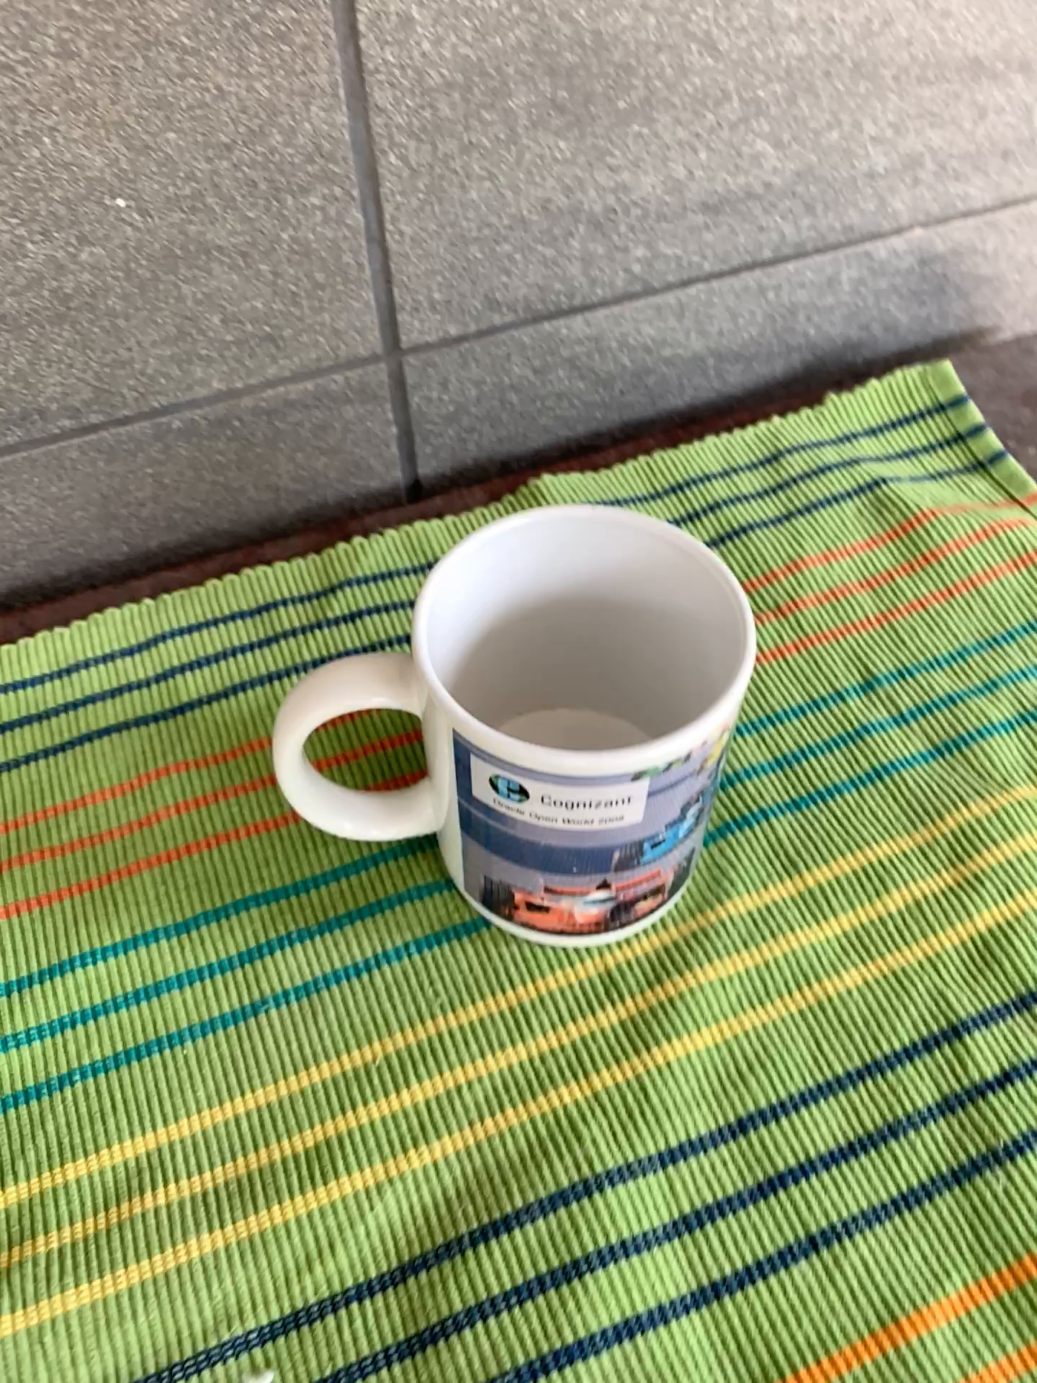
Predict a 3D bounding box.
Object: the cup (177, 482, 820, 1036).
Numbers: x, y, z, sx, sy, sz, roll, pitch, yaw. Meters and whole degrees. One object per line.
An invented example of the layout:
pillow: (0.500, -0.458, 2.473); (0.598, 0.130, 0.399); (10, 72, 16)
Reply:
cup: (-0.009, 0.019, 0.280); (0.130, 0.100, 0.080); (-10, 53, -8)
